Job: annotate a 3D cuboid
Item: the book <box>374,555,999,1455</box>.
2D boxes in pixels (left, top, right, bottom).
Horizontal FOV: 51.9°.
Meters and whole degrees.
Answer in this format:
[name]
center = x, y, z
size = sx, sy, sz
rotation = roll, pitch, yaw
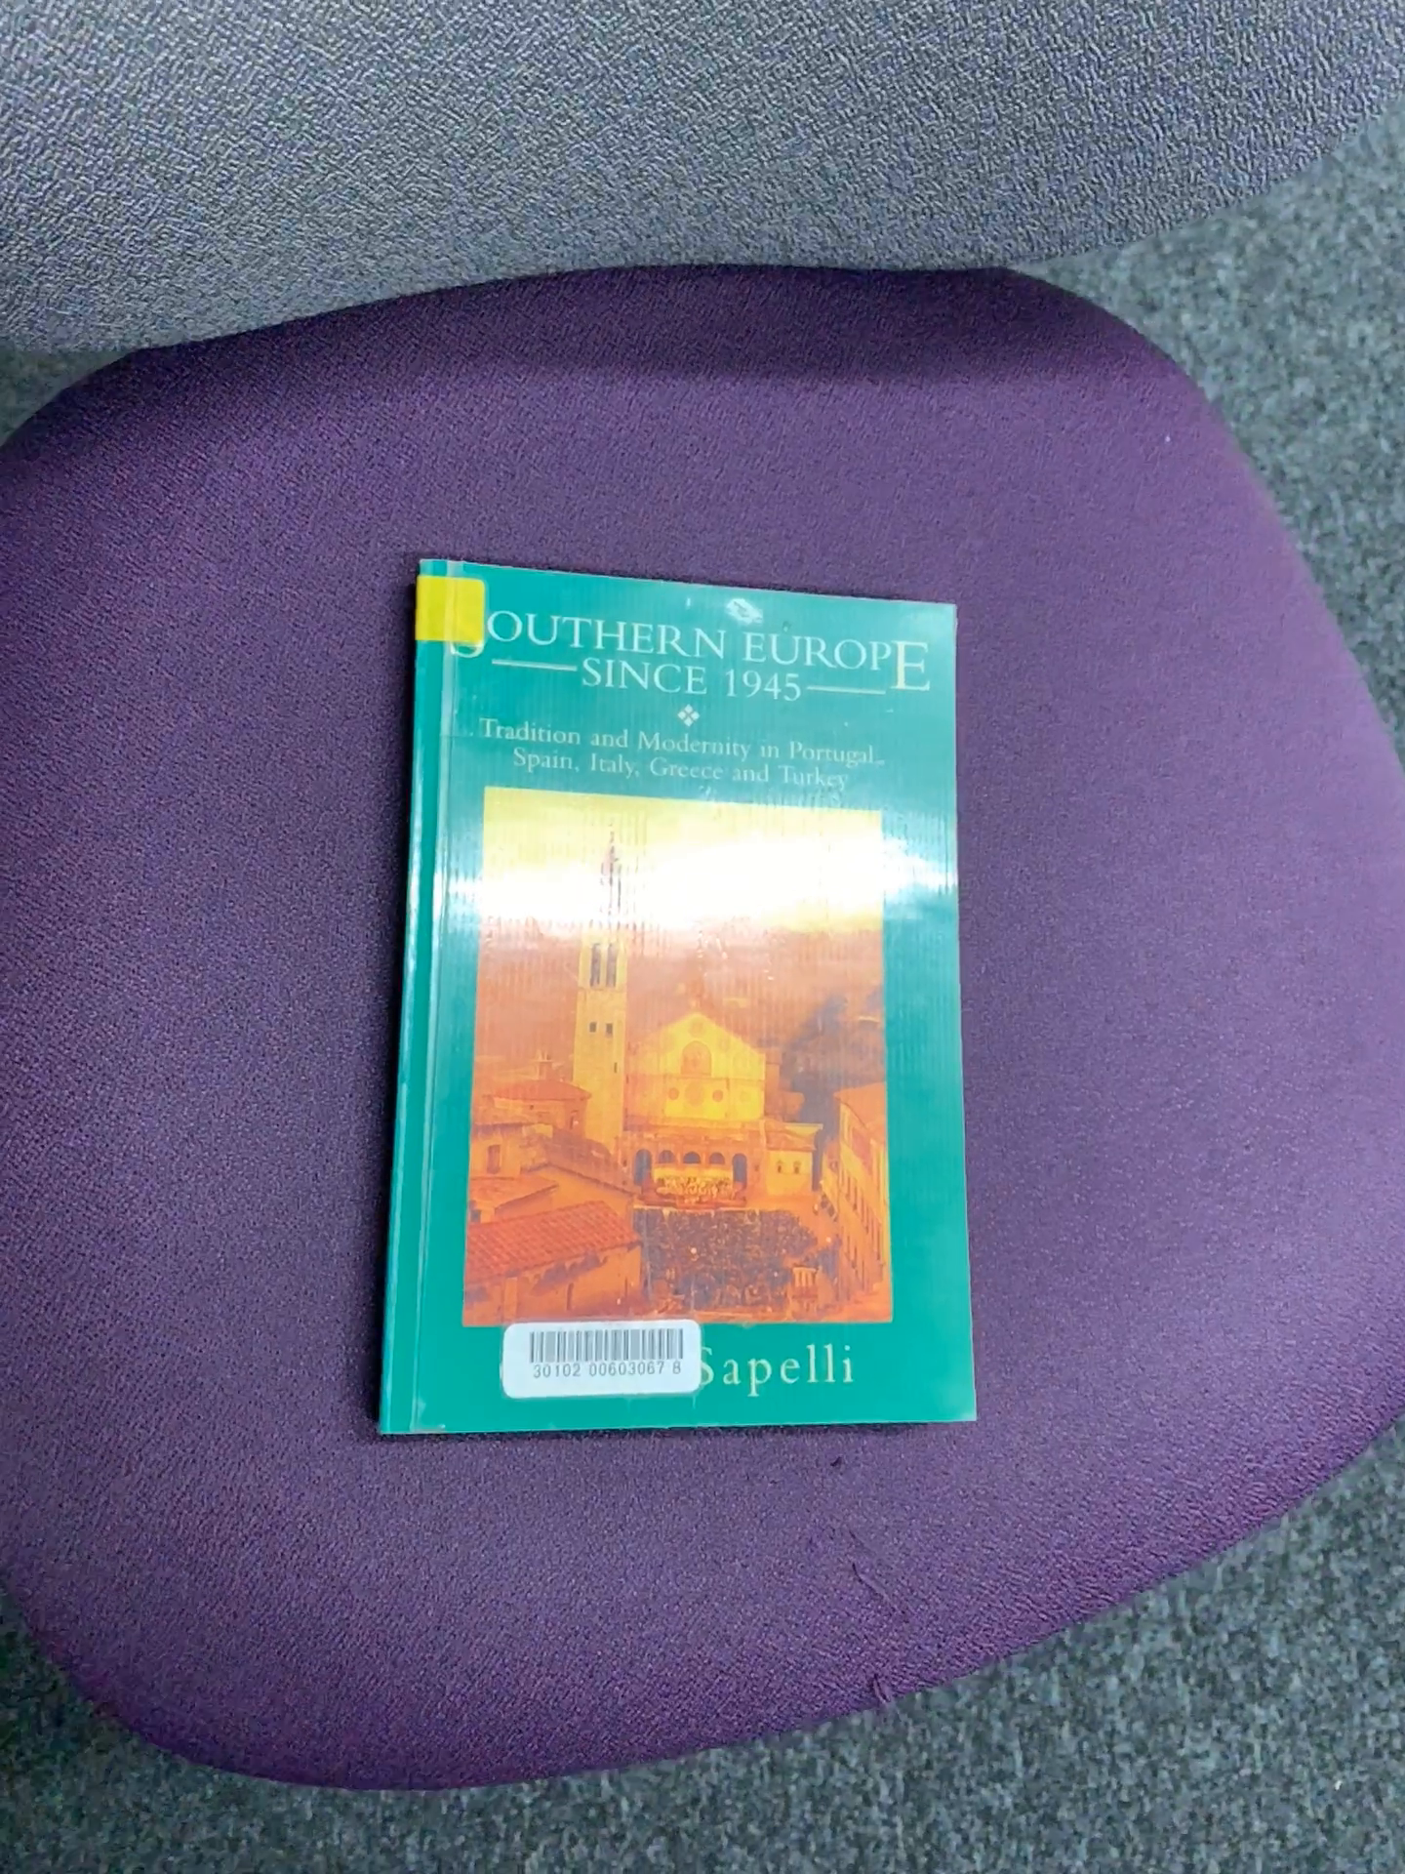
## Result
[book]
center = -0.002, 0.015, 0.377
size = 0.153, 0.020, 0.221
rotation = 2, 80, -11
